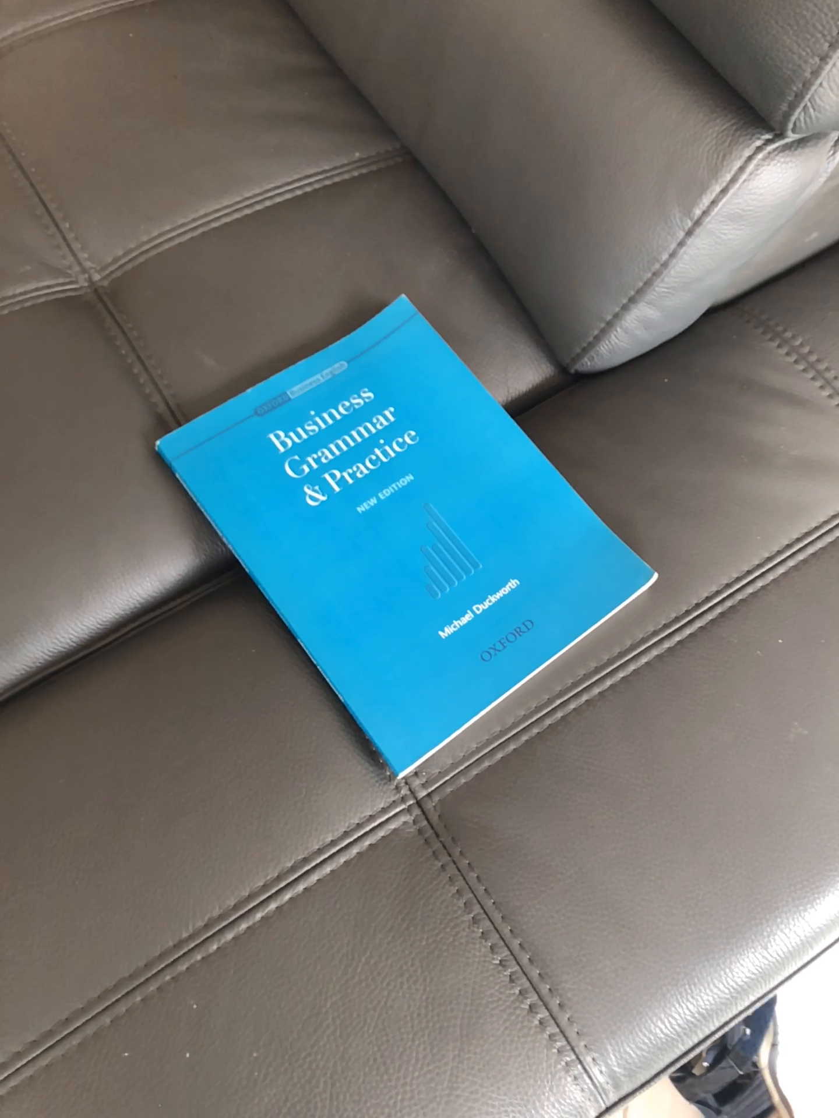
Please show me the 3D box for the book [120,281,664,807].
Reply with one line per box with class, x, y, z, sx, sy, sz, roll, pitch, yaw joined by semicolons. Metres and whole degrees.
book;-0.019;-0.025;0.608;0.231;0.020;0.280;-36;76;-15
